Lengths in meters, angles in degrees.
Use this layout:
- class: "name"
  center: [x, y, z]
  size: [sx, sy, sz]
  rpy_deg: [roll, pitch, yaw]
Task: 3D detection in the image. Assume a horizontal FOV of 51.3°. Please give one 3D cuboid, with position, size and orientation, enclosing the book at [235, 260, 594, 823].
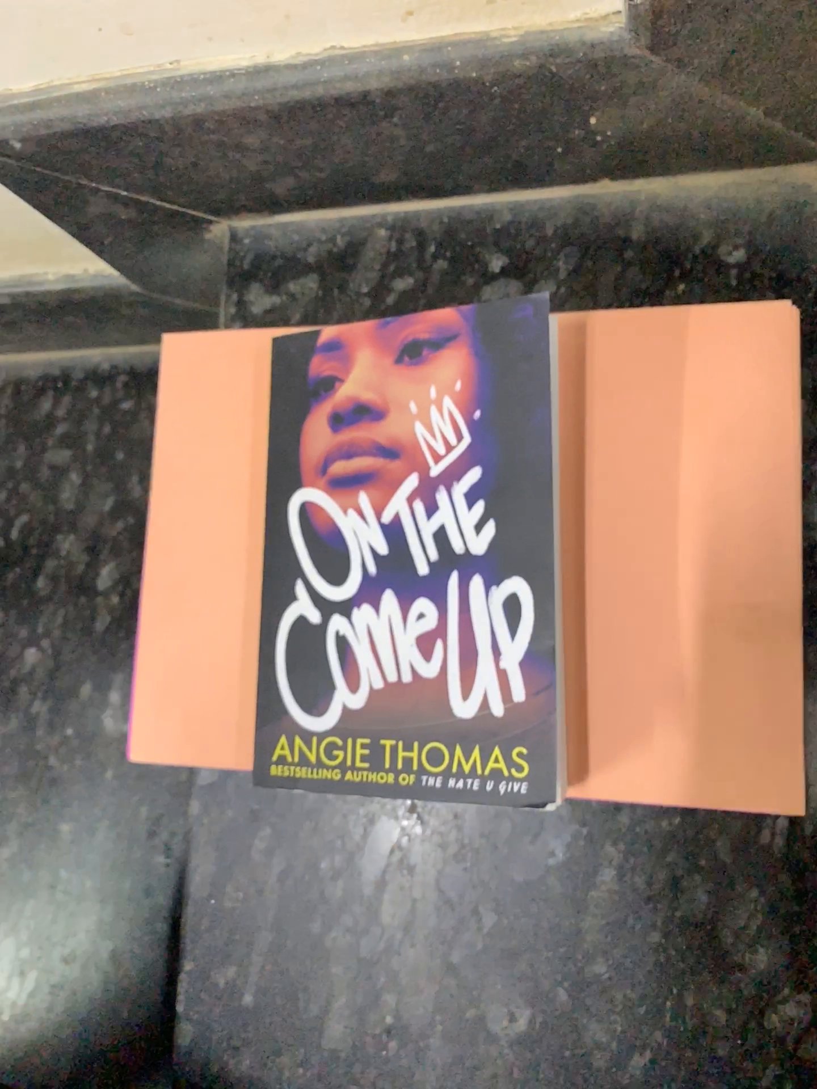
- class: "book"
  center: [0.003, -0.001, 0.337]
  size: [0.130, 0.040, 0.200]
  rpy_deg: [-2, 81, 18]
